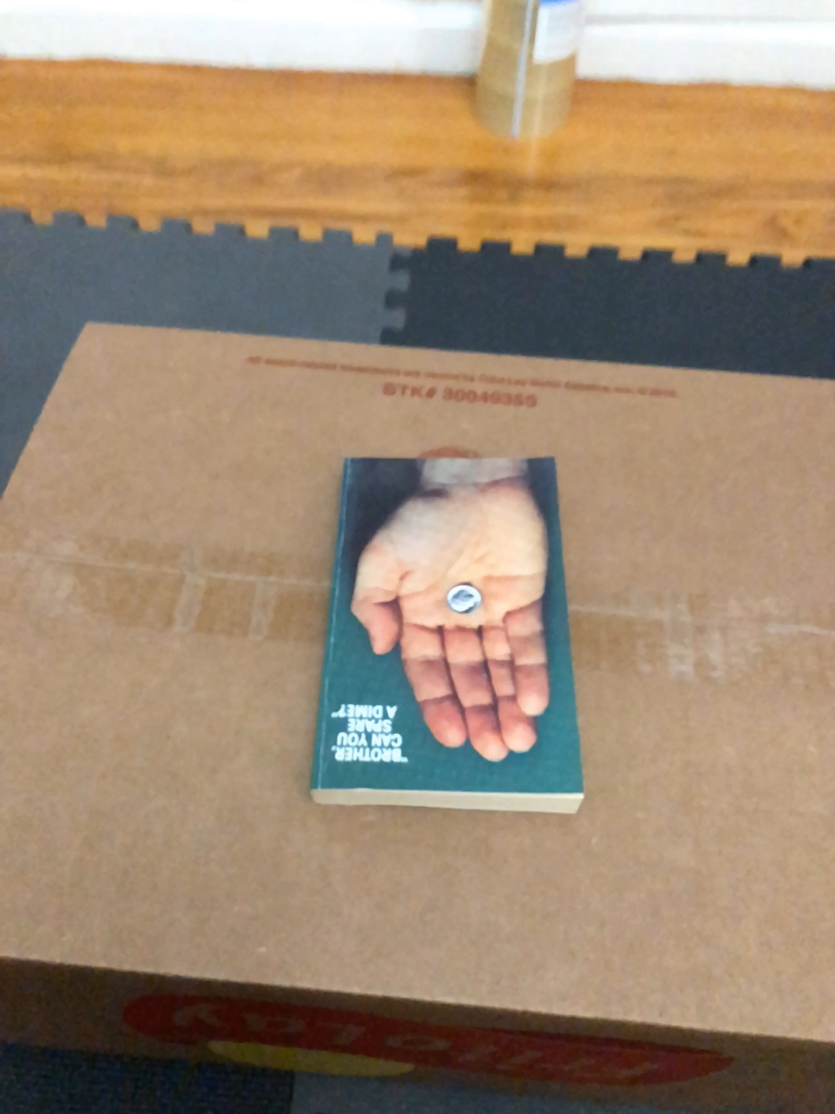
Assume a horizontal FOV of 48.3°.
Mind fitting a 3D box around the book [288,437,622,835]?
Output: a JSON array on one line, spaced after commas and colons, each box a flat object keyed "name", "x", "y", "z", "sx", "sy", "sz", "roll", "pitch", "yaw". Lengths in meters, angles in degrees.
[{"name": "book", "x": 0.016, "y": 0.024, "z": 0.396, "sx": 0.120, "sy": 0.020, "sz": 0.181, "roll": 2, "pitch": 54, "yaw": 0}]
